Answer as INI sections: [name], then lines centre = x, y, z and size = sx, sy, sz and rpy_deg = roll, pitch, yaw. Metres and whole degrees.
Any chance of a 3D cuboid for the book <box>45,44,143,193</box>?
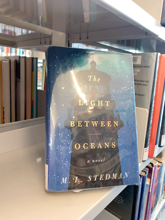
[book]
centre = 0.016, 0.009, 0.296
size = 0.155, 0.225, 0.042
rpy_deg = 0, -7, -14
